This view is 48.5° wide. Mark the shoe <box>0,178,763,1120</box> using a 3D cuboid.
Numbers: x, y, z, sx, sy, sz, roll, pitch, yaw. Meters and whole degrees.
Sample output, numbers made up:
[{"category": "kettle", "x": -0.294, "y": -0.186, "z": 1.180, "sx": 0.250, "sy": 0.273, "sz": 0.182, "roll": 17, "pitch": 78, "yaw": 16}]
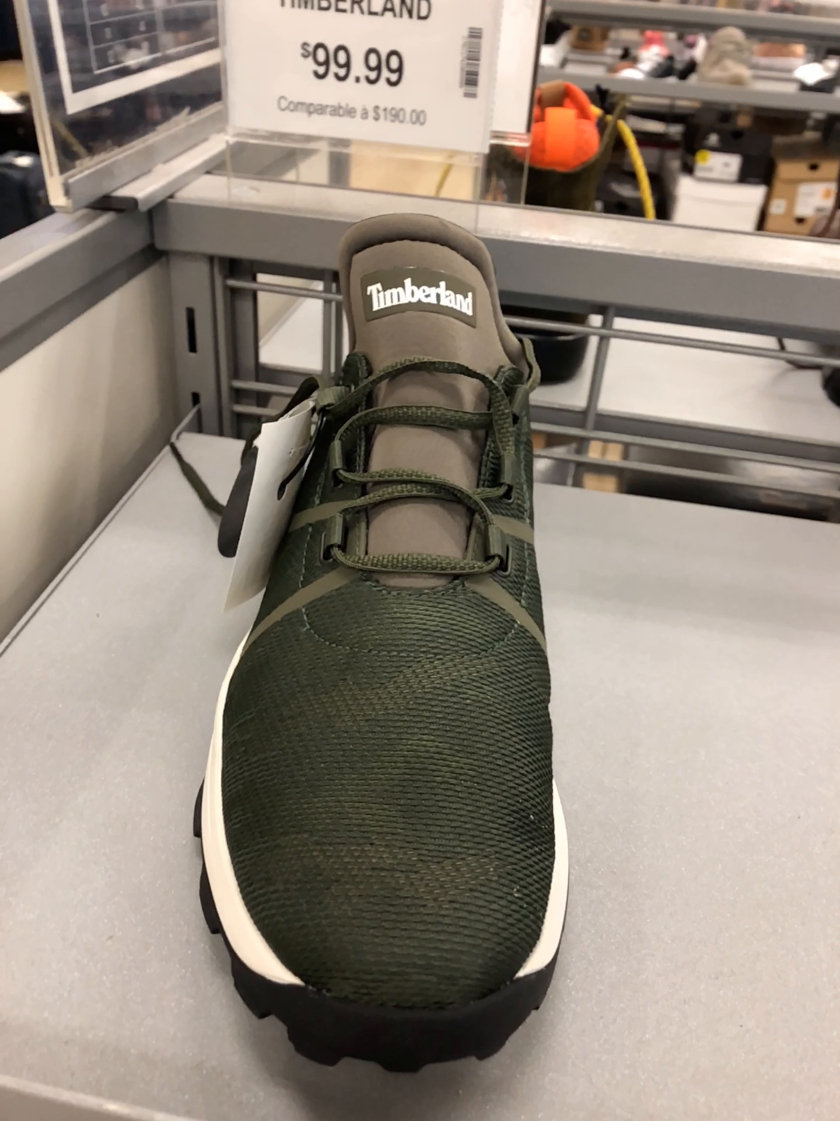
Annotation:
[{"category": "shoe", "x": -0.013, "y": -0.011, "z": 0.315, "sx": 0.130, "sy": 0.149, "sz": 0.313, "roll": 4, "pitch": 34, "yaw": -1}]
